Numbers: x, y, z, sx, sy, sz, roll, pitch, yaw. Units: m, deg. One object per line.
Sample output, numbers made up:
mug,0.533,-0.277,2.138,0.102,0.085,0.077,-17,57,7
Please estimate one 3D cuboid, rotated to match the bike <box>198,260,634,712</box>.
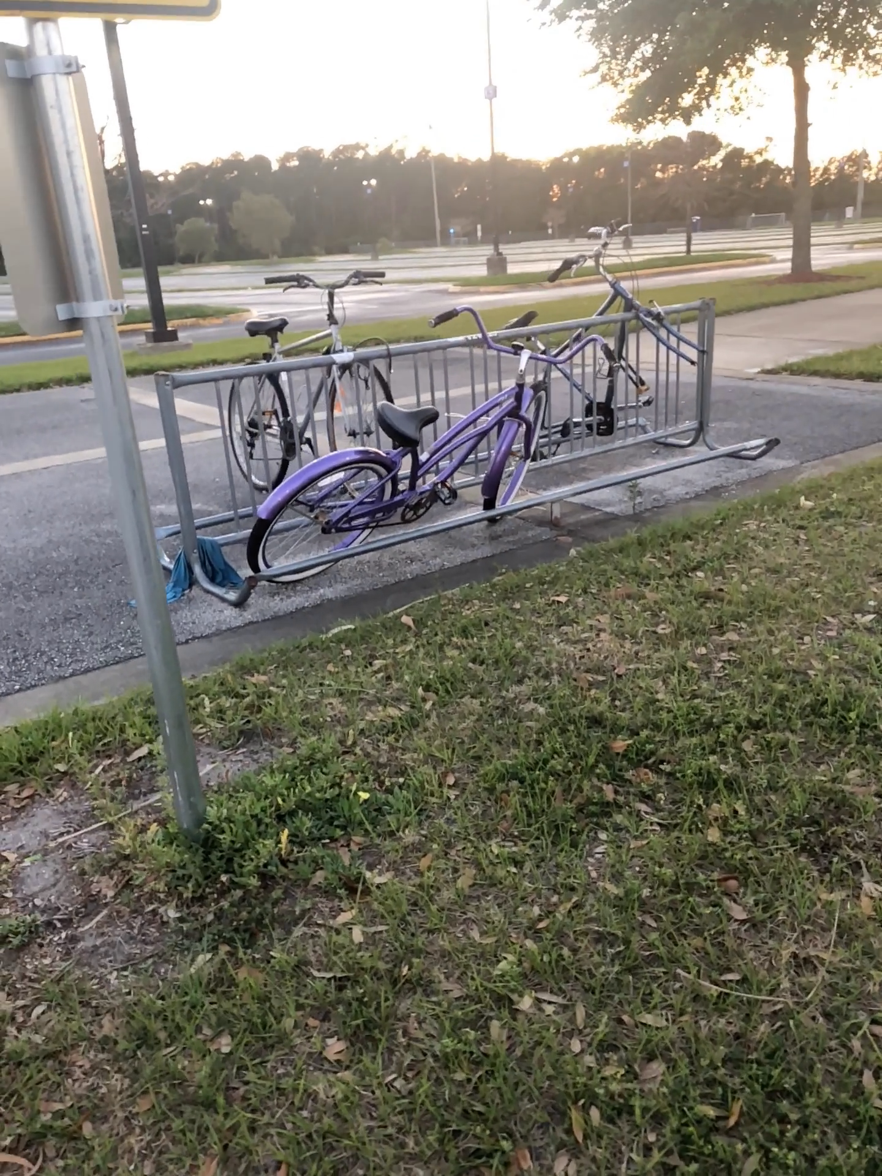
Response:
bike,-0.007,-0.556,3.806,0.851,1.117,1.705,14,30,42
